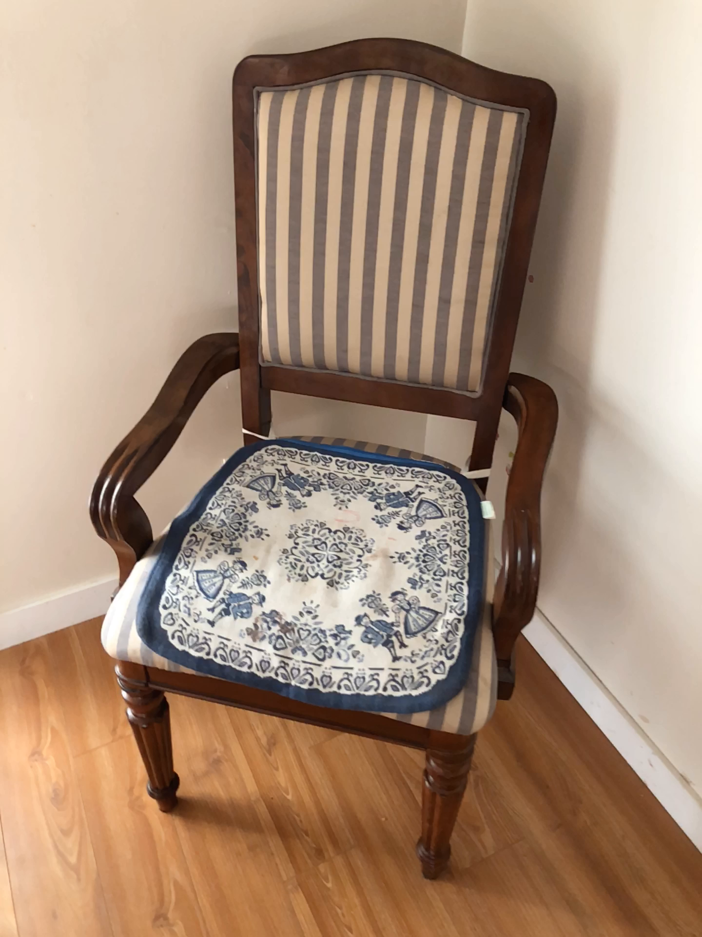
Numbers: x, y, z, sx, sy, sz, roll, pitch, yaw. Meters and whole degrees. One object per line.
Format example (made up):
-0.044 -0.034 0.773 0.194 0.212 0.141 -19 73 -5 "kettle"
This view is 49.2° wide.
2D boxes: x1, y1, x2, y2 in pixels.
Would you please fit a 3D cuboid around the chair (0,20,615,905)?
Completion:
-0.039 0.029 1.077 0.530 1.043 0.584 8 40 9 "chair"
